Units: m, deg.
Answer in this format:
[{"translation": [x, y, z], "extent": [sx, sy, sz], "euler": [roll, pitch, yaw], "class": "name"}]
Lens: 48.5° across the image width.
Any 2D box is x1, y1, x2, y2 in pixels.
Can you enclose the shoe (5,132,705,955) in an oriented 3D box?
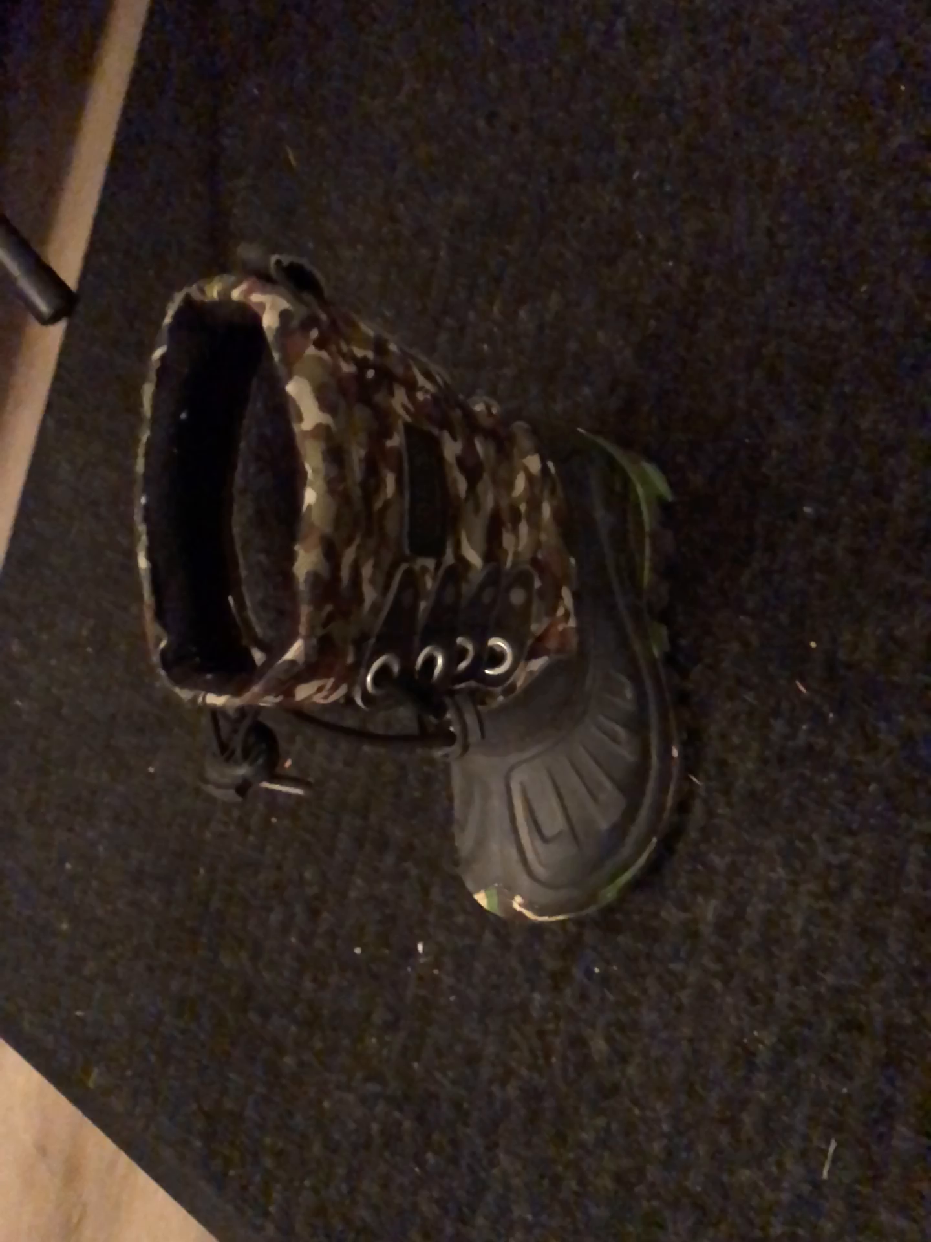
[{"translation": [-0.016, -0.003, 0.354], "extent": [0.101, 0.209, 0.200], "euler": [-3, 77, 39], "class": "shoe"}]
